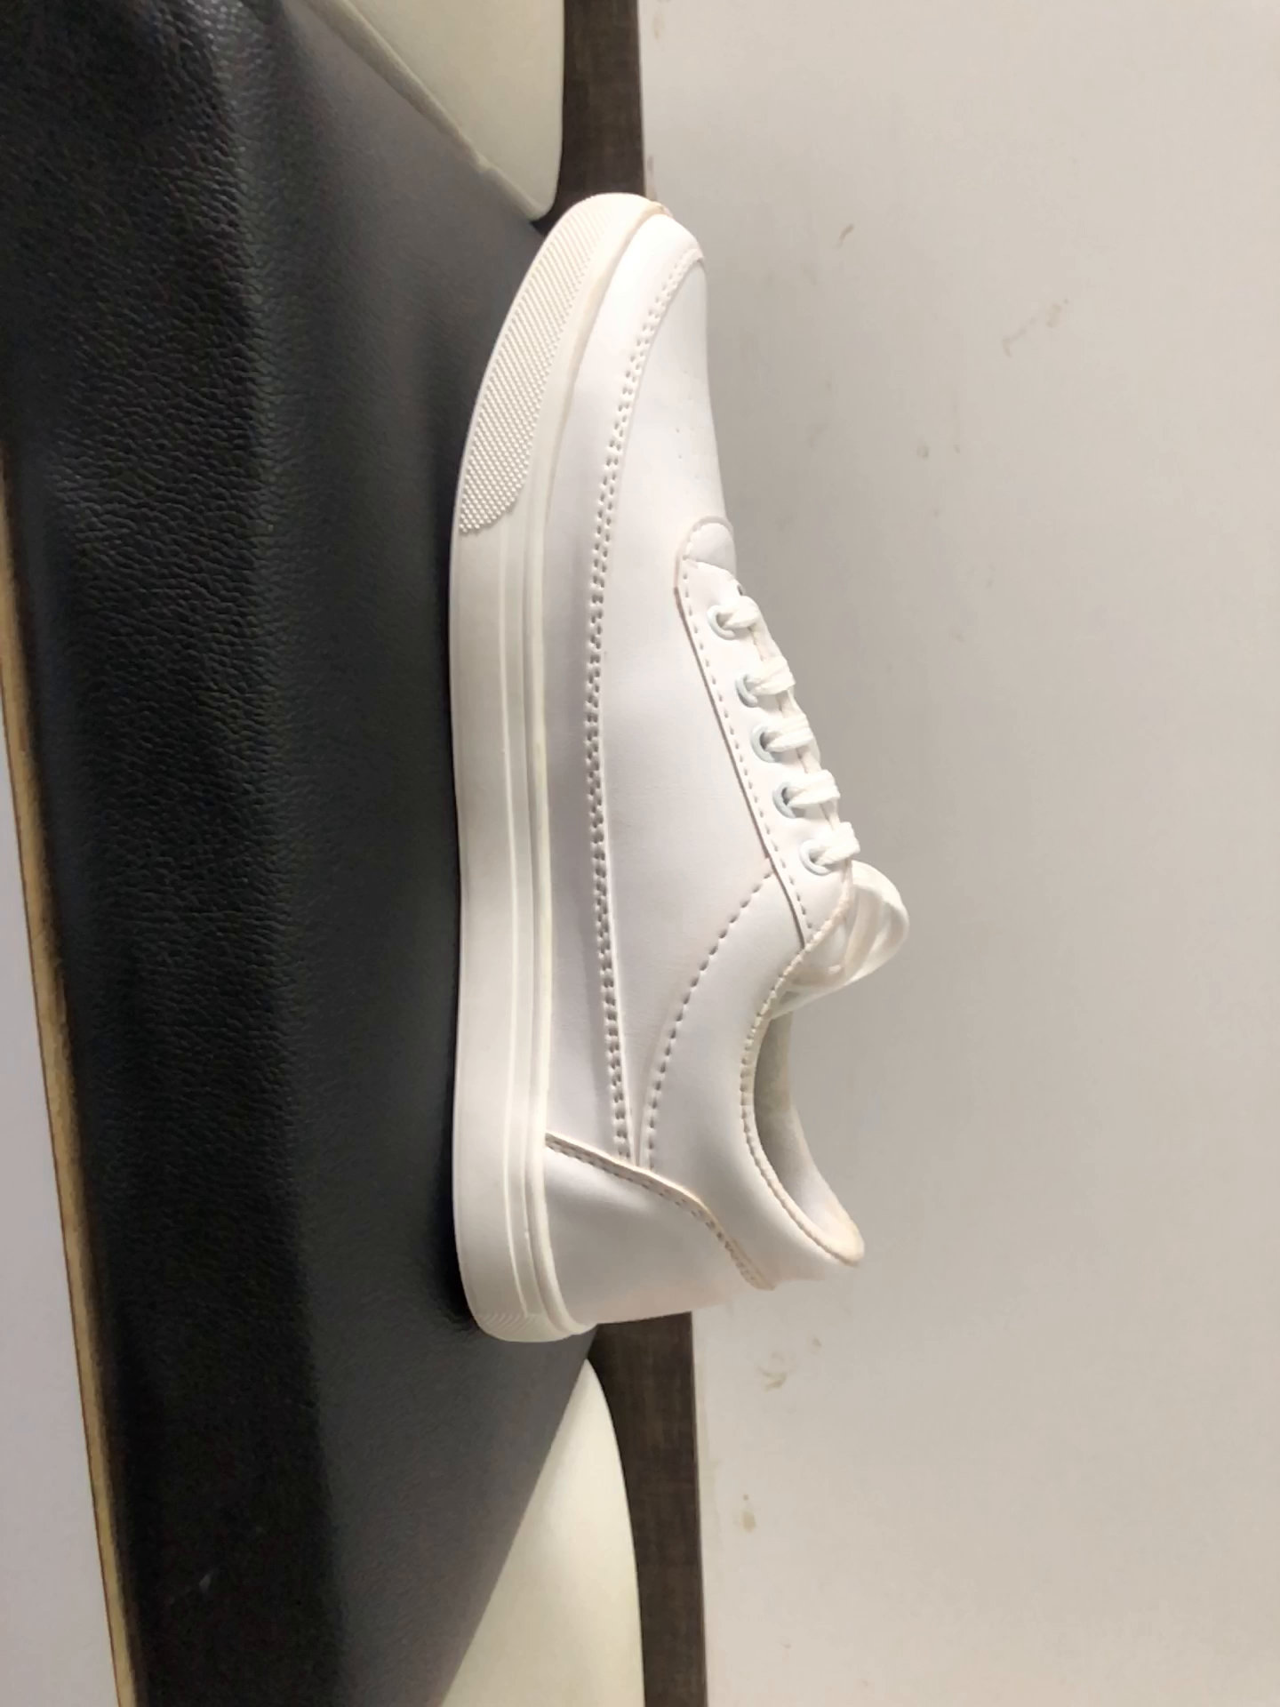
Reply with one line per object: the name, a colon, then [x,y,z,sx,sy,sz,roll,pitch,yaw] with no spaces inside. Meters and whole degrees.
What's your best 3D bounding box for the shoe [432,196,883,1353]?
shoe: [0.015,-0.019,0.429,0.130,0.110,0.290,-13,102,-81]
